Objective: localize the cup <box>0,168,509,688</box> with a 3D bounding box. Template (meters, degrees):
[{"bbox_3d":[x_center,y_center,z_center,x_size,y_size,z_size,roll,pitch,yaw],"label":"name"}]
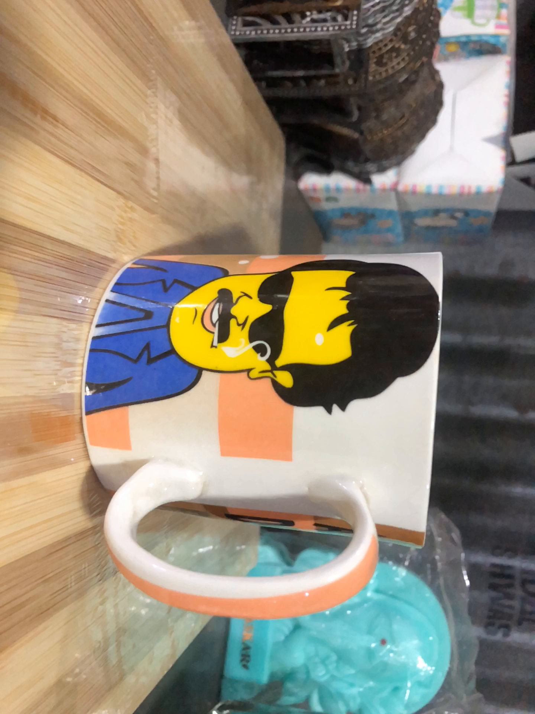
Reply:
[{"bbox_3d":[0.006,0.007,0.159,0.110,0.090,0.070,-72,162,-48],"label":"cup"}]
